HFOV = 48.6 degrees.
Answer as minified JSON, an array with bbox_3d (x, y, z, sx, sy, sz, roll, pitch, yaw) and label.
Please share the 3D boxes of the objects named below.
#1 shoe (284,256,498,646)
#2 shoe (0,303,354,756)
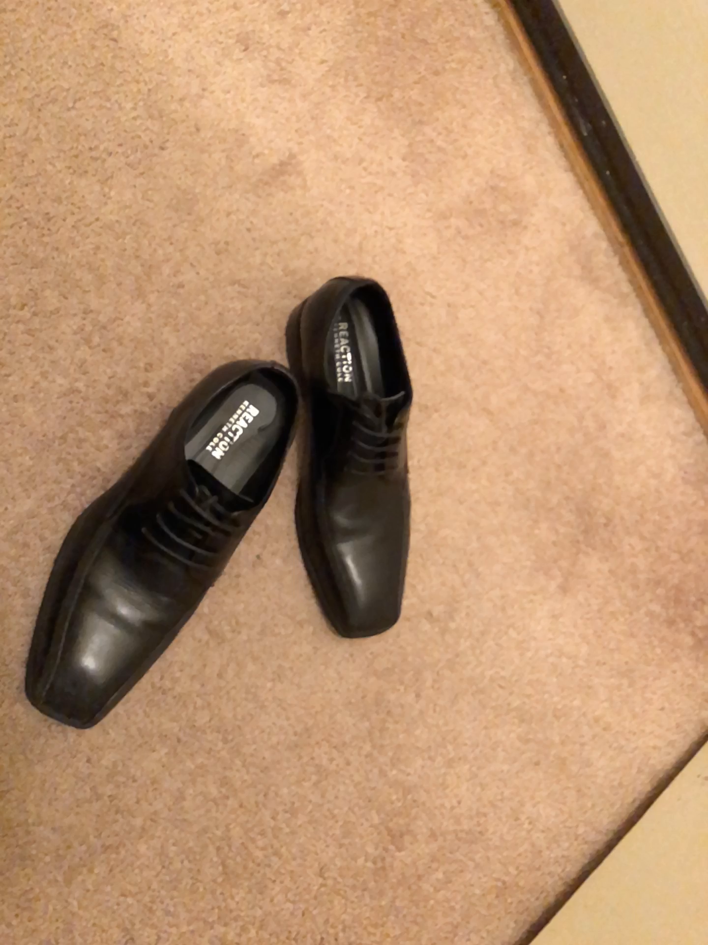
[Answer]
[{"bbox_3d":[0.026,-0.015,0.665,0.115,0.110,0.297,-2,83,-27],"label":"shoe"},{"bbox_3d":[-0.129,0.036,0.566,0.110,0.108,0.284,34,69,-18],"label":"shoe"}]
